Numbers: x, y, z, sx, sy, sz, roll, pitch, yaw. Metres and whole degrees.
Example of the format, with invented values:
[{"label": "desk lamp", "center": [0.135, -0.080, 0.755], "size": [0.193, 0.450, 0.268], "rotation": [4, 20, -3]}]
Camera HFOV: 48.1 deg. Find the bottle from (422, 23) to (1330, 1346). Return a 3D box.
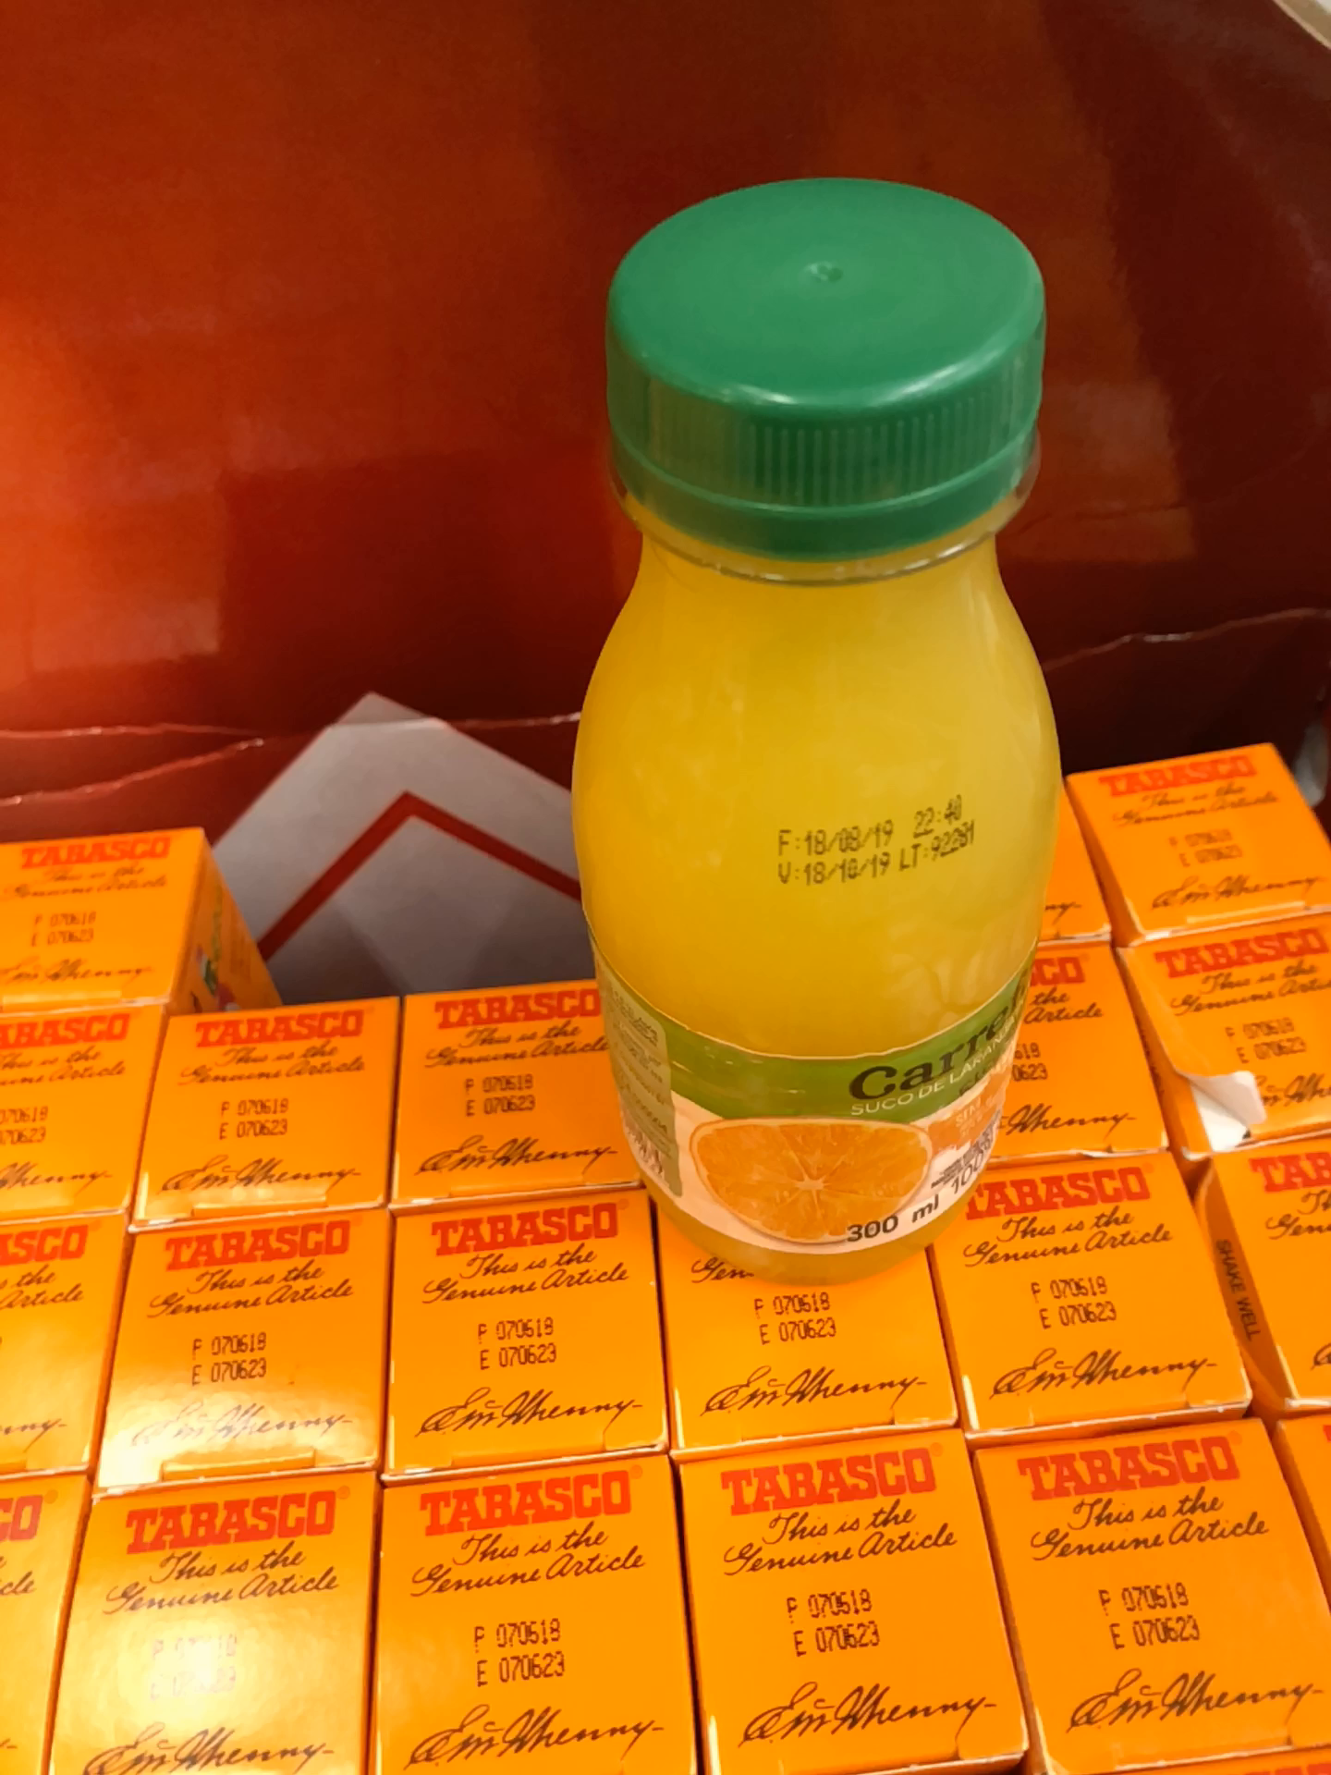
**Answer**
[{"label": "bottle", "center": [0.023, -0.011, 0.185], "size": [0.060, 0.149, 0.050], "rotation": [-37, 57, -23]}]
